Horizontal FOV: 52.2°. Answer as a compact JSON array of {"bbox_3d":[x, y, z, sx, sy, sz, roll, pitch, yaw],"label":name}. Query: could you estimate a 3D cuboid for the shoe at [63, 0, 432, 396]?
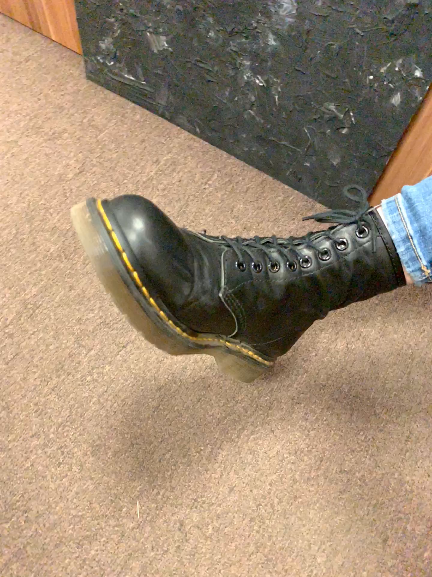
[{"bbox_3d":[0.089,-0.019,0.402,0.230,0.370,0.120,-29,65,12],"label":"shoe"}]
